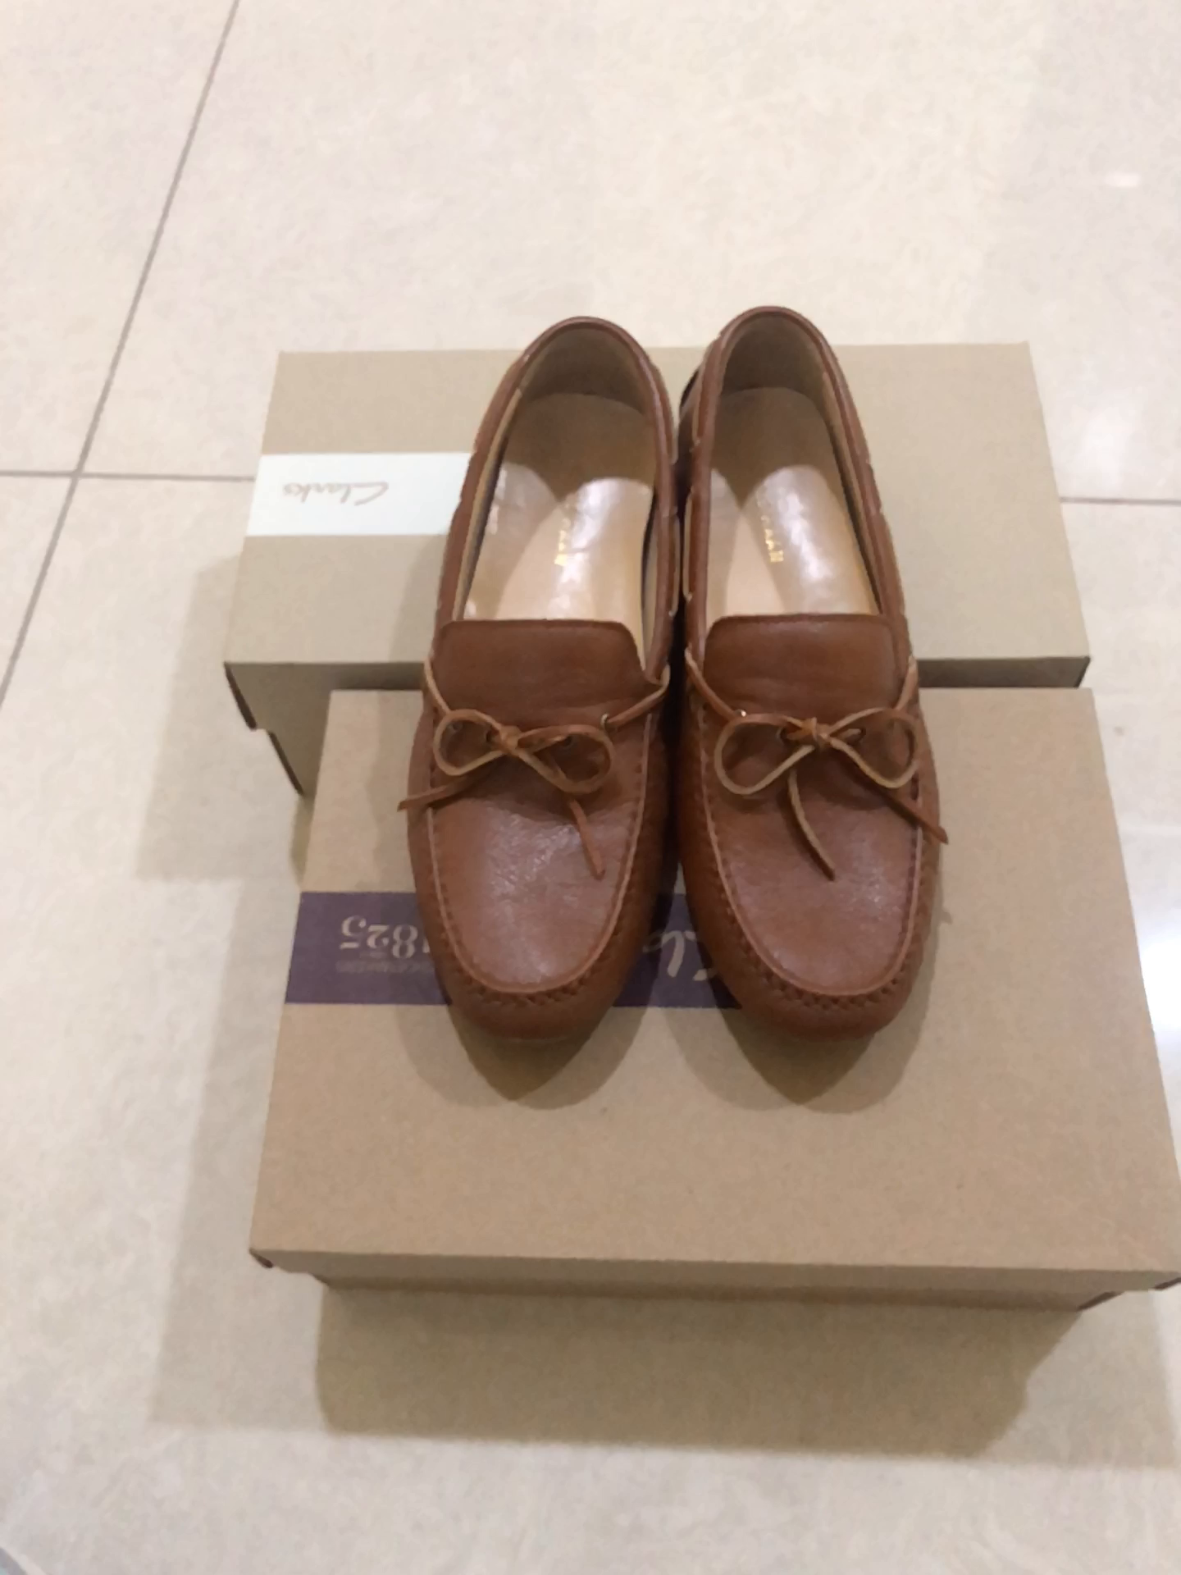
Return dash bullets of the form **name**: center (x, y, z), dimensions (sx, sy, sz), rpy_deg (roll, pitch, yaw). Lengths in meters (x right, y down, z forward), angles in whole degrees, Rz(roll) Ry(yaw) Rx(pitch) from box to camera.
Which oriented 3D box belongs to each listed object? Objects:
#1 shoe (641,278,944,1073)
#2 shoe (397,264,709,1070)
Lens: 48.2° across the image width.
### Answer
- **shoe**: center (0.063, -0.045, 0.479), dimensions (0.080, 0.080, 0.280), rpy_deg (-1, 68, 1)
- **shoe**: center (-0.005, -0.049, 0.475), dimensions (0.080, 0.080, 0.280), rpy_deg (3, 68, 3)
